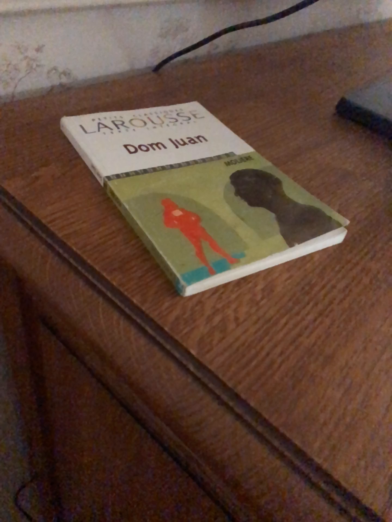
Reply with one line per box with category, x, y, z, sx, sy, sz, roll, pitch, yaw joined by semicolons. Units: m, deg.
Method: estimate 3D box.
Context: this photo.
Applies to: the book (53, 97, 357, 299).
book;-0.003;-0.058;0.276;0.116;0.010;0.180;-17;49;-29
